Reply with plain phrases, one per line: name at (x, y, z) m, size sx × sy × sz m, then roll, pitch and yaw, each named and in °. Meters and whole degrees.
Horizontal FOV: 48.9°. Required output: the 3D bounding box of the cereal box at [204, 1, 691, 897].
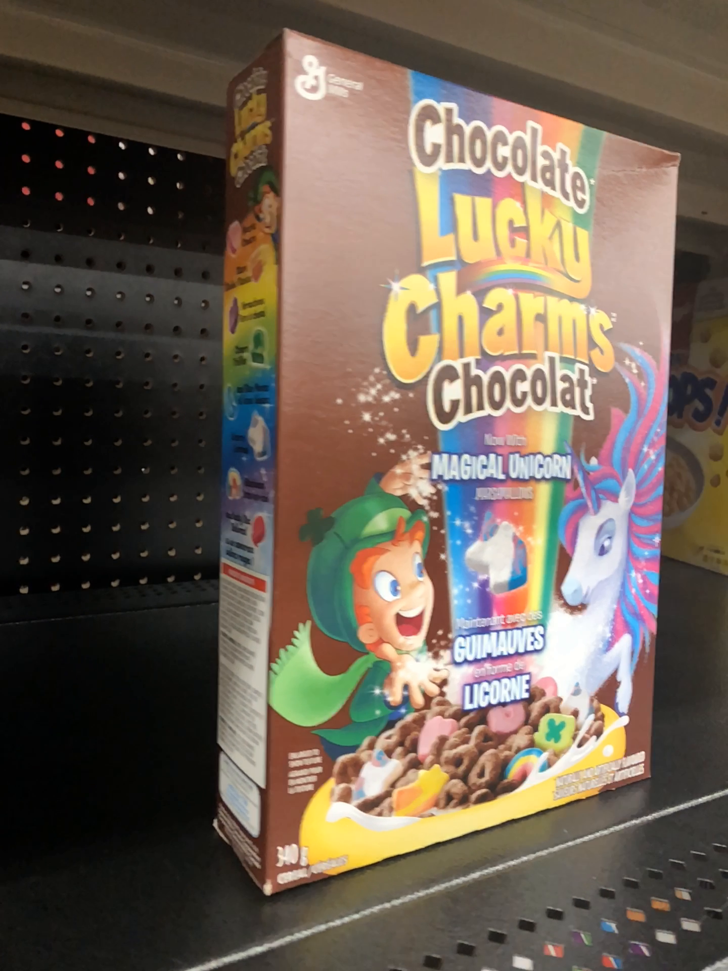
cereal box at (0.041, -0.012, 0.336) m, size 0.200 × 0.290 × 0.060 m, roll 0°, pitch 3°, yaw -31°
